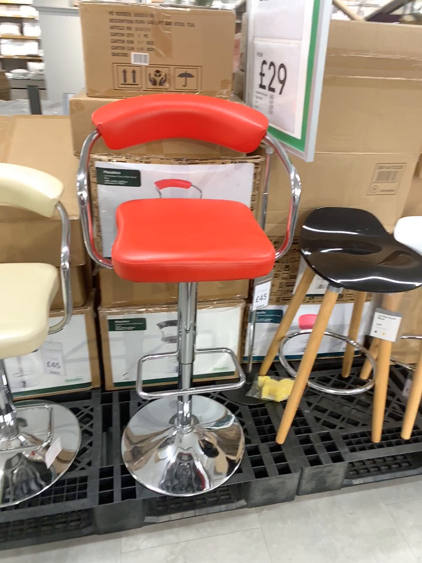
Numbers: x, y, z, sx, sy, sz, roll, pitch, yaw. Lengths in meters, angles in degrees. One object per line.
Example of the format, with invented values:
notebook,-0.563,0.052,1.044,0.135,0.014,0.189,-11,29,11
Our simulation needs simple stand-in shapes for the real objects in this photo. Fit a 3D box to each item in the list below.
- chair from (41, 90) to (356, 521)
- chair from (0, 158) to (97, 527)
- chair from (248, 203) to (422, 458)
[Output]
chair,-0.078,0.049,1.167,0.526,0.977,0.533,-4,29,-12
chair,-0.607,0.147,1.175,0.495,0.839,0.462,-4,29,-12
chair,0.406,0.153,1.424,0.425,0.710,0.392,-3,29,-10
